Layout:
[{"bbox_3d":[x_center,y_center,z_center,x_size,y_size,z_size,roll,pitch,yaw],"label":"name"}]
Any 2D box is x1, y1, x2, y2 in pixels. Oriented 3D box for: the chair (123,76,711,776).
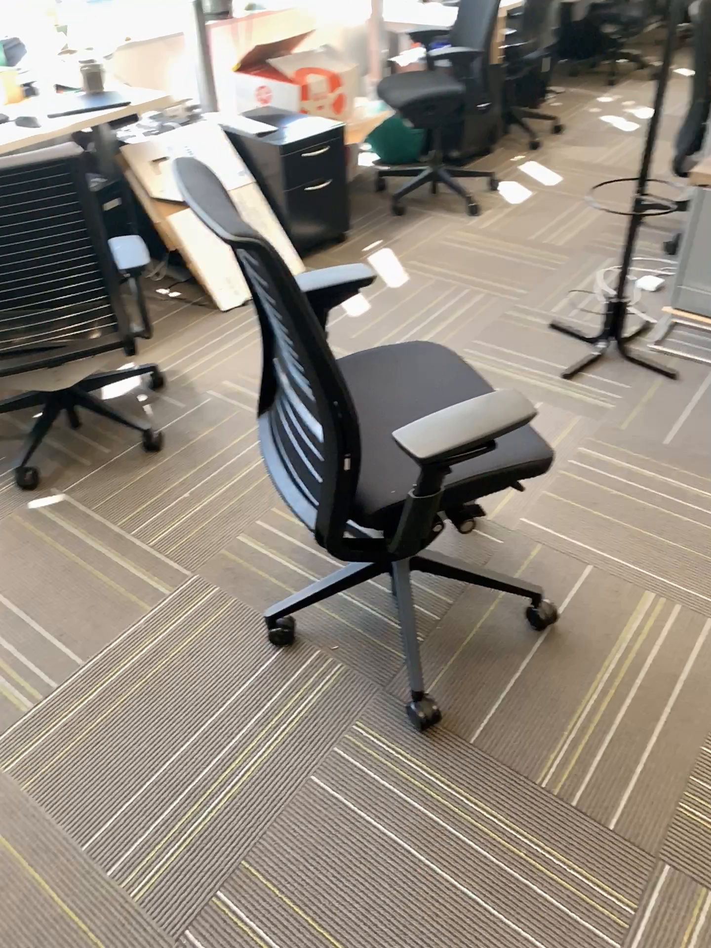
[{"bbox_3d":[0.068,-0.119,1.437,0.670,0.994,0.754,-18,42,-17],"label":"chair"}]
